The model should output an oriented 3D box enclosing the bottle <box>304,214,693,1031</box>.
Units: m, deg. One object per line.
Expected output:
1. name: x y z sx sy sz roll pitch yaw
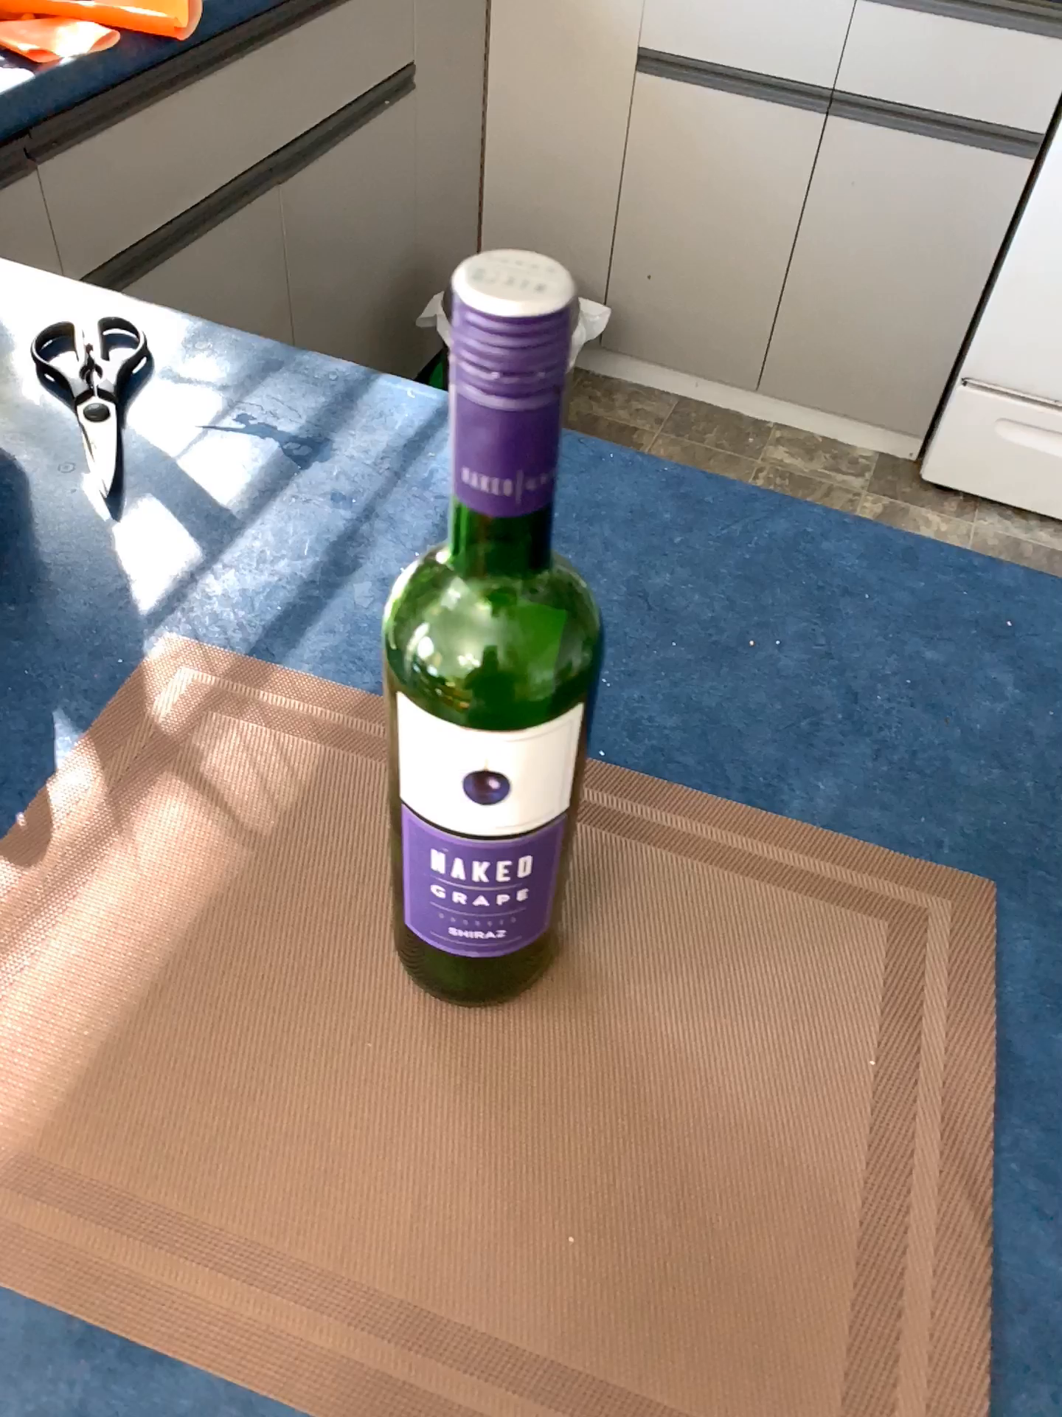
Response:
1. bottle: -0.017 0.002 0.356 0.080 0.288 0.081 3 48 -3
